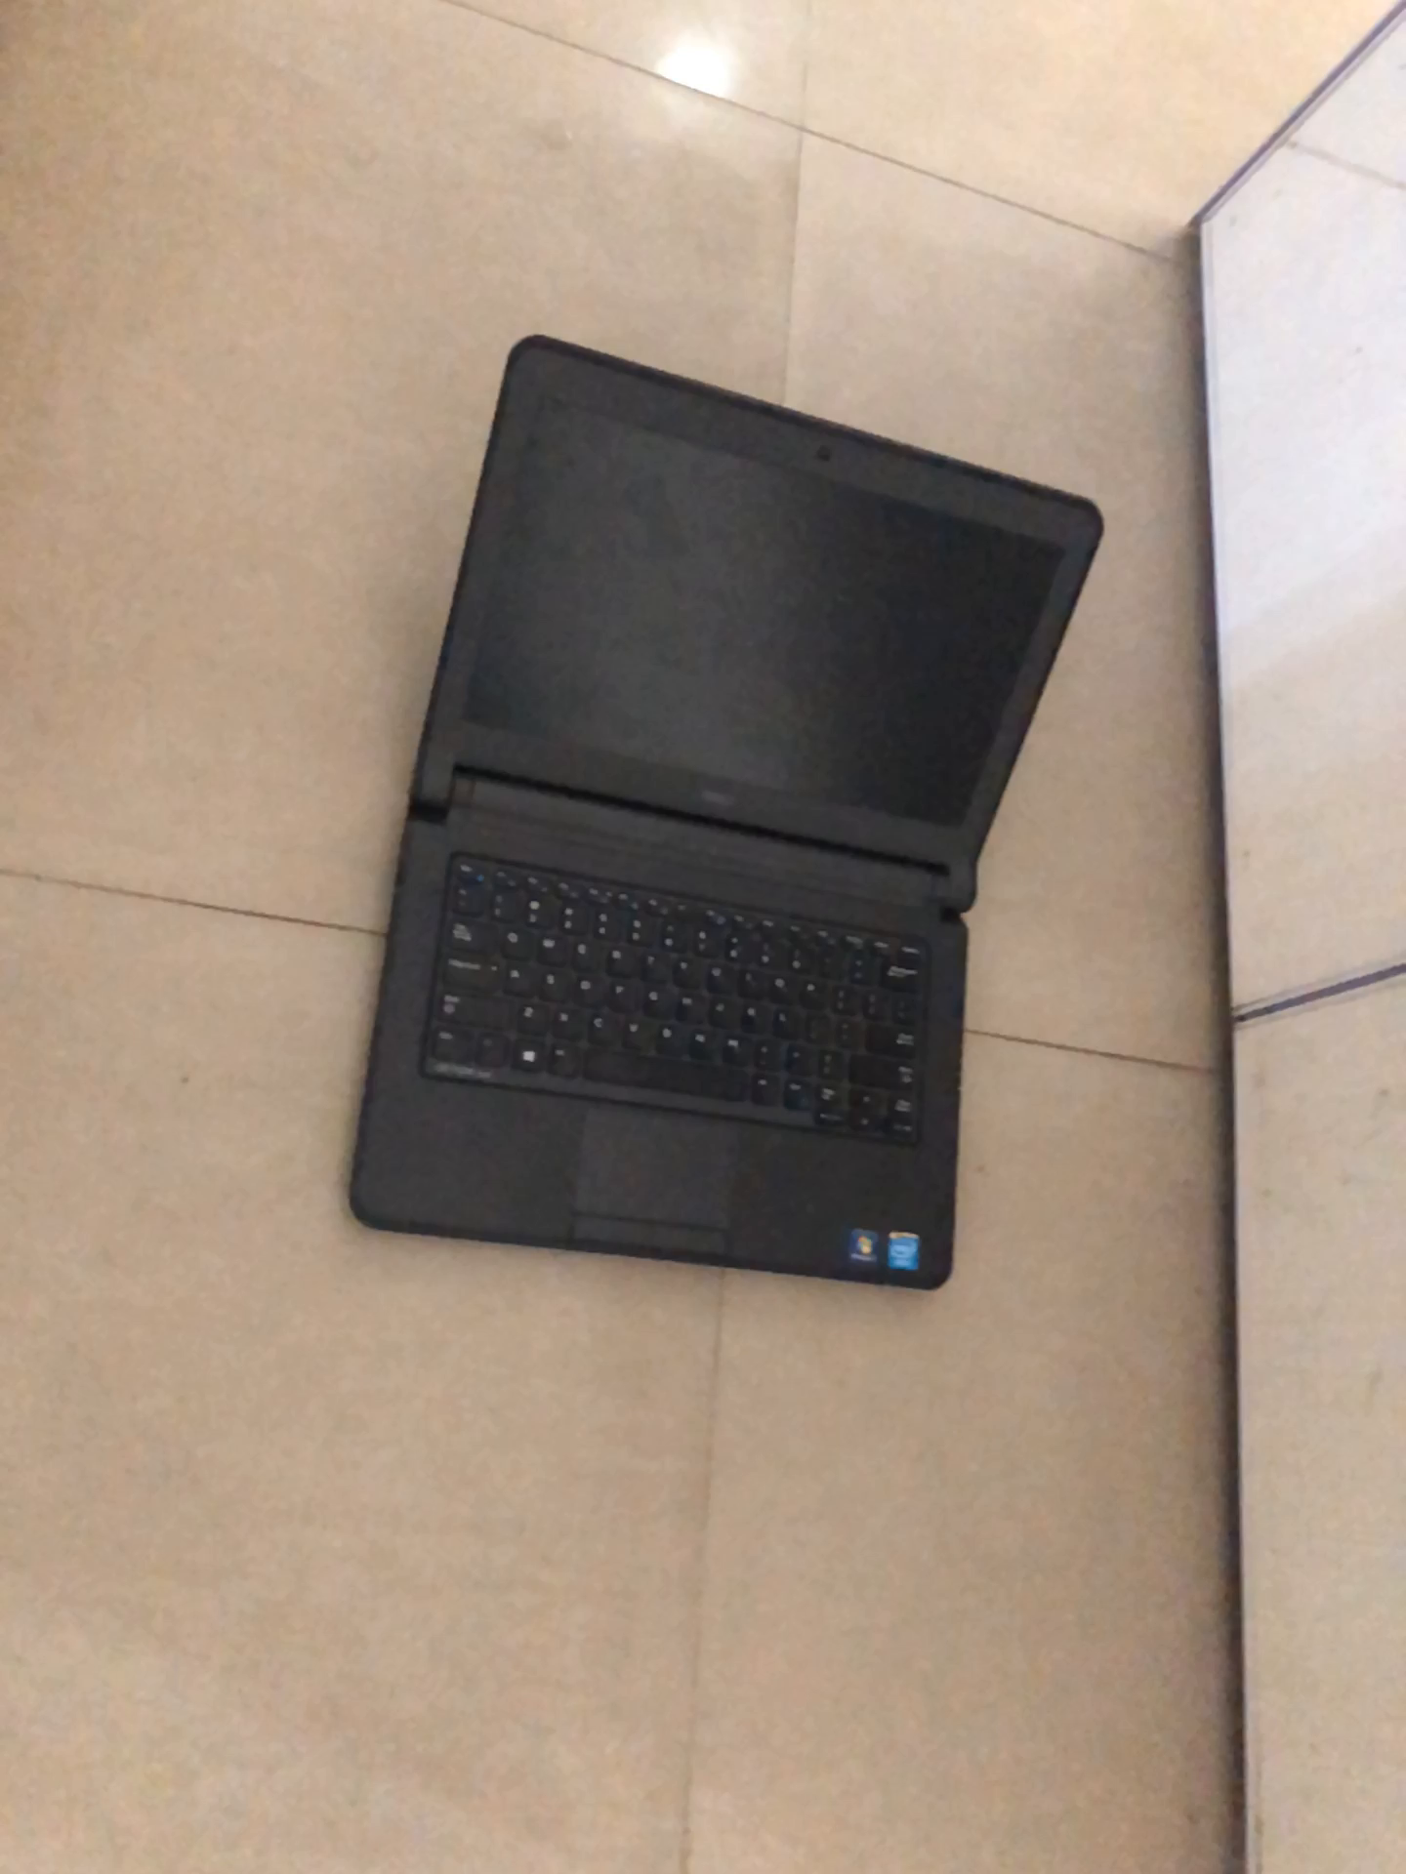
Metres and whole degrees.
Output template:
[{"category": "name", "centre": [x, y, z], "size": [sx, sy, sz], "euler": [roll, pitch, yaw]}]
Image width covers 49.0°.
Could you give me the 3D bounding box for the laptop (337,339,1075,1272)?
[{"category": "laptop", "centre": [0.010, -0.048, 0.782], "size": [0.313, 0.154, 0.393], "euler": [10, 73, -18]}]
